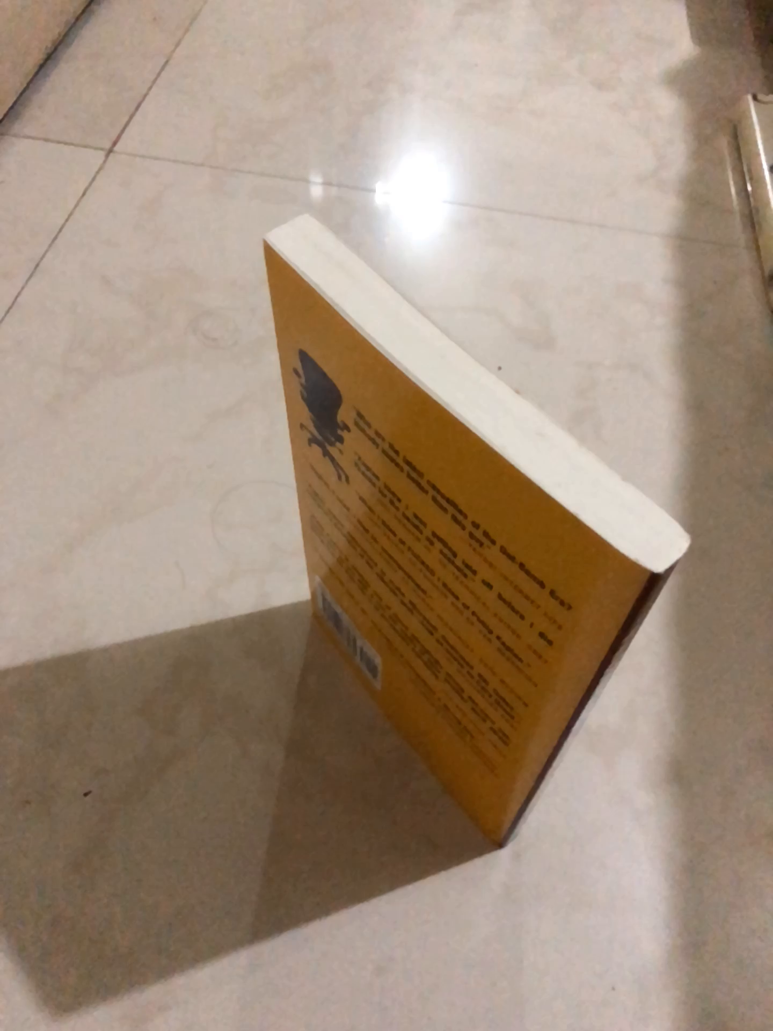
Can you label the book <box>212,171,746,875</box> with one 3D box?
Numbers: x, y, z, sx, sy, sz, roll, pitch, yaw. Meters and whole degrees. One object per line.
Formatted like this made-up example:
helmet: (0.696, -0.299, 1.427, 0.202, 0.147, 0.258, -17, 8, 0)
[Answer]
book: (0.008, 0.022, 0.261, 0.030, 0.199, 0.130, -33, 63, -23)
